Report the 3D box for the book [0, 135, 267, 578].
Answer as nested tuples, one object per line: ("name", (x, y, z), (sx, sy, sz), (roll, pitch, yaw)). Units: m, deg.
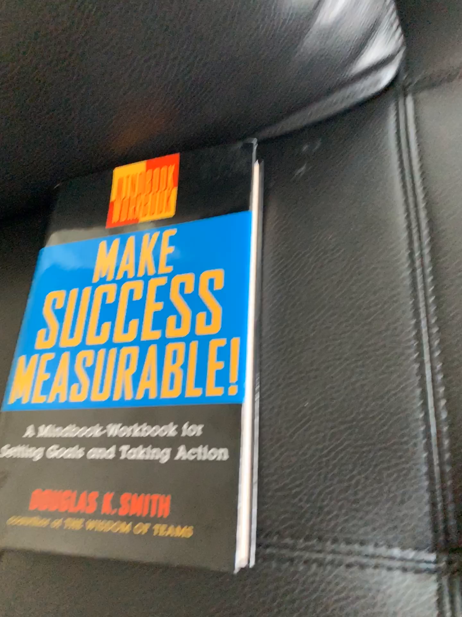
("book", (-0.063, 0.017, 0.290), (0.164, 0.030, 0.241), (-6, 65, 20))
